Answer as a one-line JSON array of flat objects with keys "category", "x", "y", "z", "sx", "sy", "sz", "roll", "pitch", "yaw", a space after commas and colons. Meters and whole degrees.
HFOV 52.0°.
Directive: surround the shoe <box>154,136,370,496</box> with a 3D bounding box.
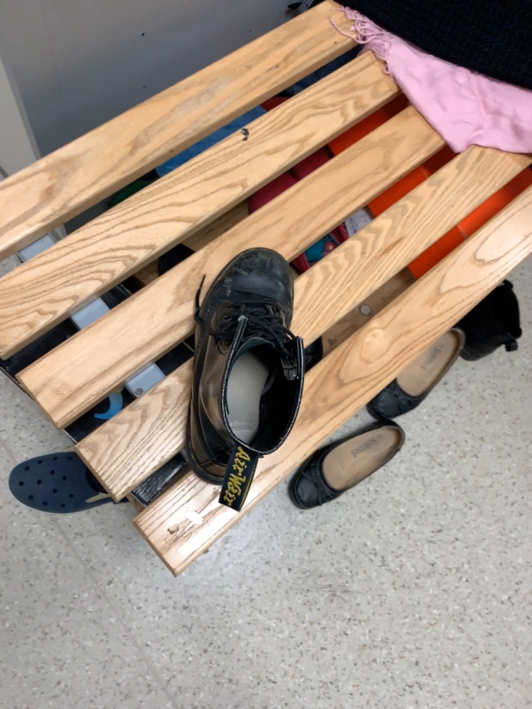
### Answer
[{"category": "shoe", "x": -0.012, "y": -0.015, "z": 0.500, "sx": 0.106, "sy": 0.200, "sz": 0.261, "roll": 16, "pitch": 72, "yaw": -7}]
